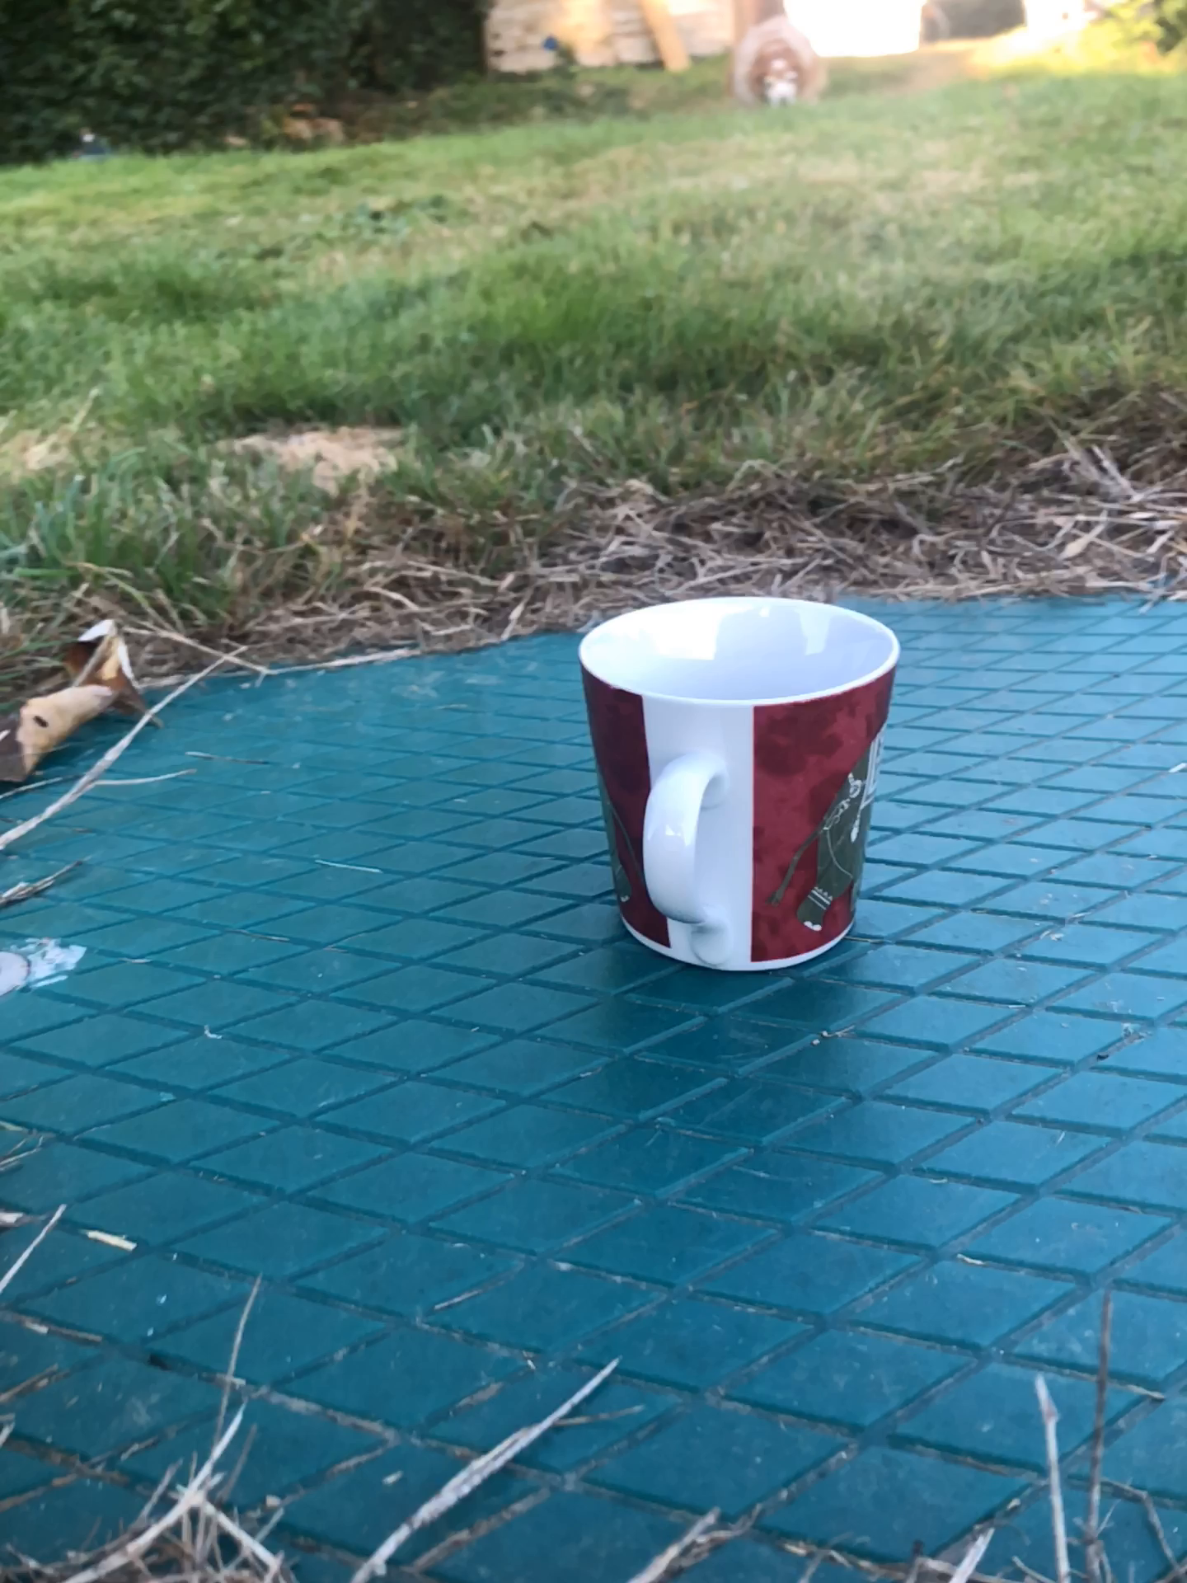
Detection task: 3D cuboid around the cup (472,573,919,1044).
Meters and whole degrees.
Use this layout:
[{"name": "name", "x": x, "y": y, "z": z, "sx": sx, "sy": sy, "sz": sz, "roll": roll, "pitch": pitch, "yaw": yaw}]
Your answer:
[{"name": "cup", "x": 0.032, "y": -0.004, "z": 0.326, "sx": 0.082, "sy": 0.070, "sz": 0.110, "roll": 5, "pitch": 26, "yaw": 18}]
